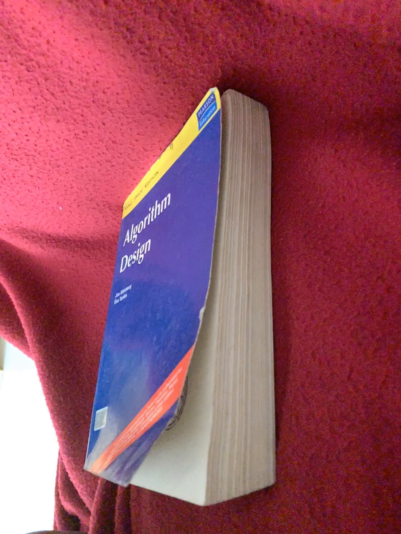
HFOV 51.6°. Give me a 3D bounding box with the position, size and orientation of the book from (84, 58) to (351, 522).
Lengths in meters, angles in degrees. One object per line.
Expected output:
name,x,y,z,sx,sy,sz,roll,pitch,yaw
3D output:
book,-0.003,0.021,0.298,0.191,0.060,0.251,-30,50,51
